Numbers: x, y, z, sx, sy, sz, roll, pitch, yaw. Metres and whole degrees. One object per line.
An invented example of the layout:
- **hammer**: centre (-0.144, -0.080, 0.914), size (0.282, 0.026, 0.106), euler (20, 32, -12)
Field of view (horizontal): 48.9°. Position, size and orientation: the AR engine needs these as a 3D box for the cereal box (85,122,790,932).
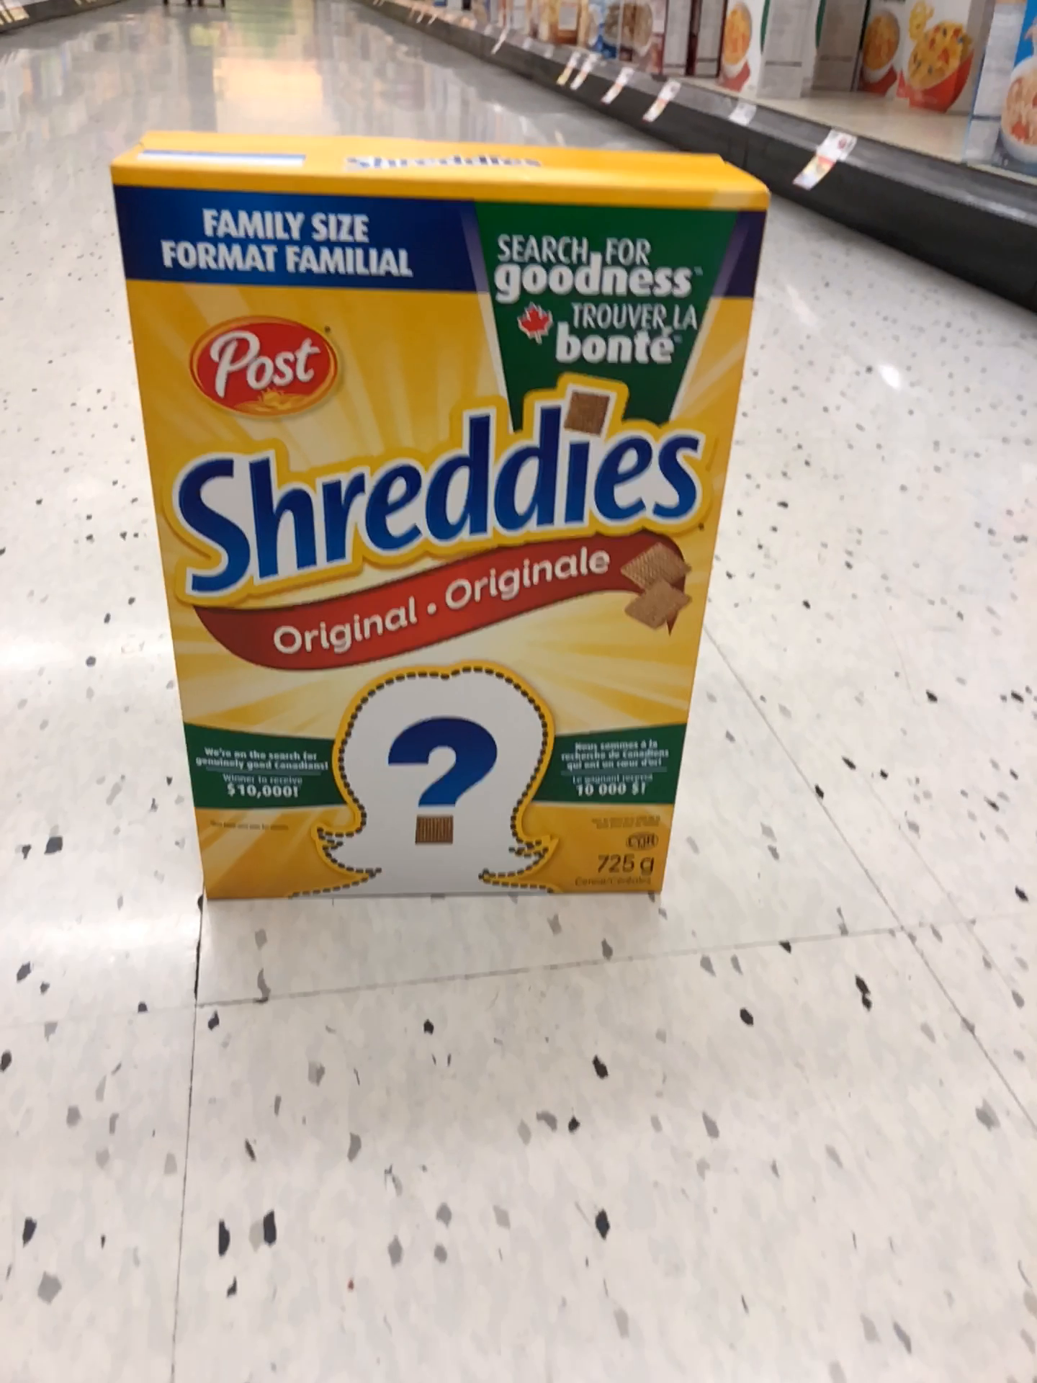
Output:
- **cereal box**: centre (-0.032, -0.043, 0.460), size (0.210, 0.318, 0.070), euler (0, 35, -6)
